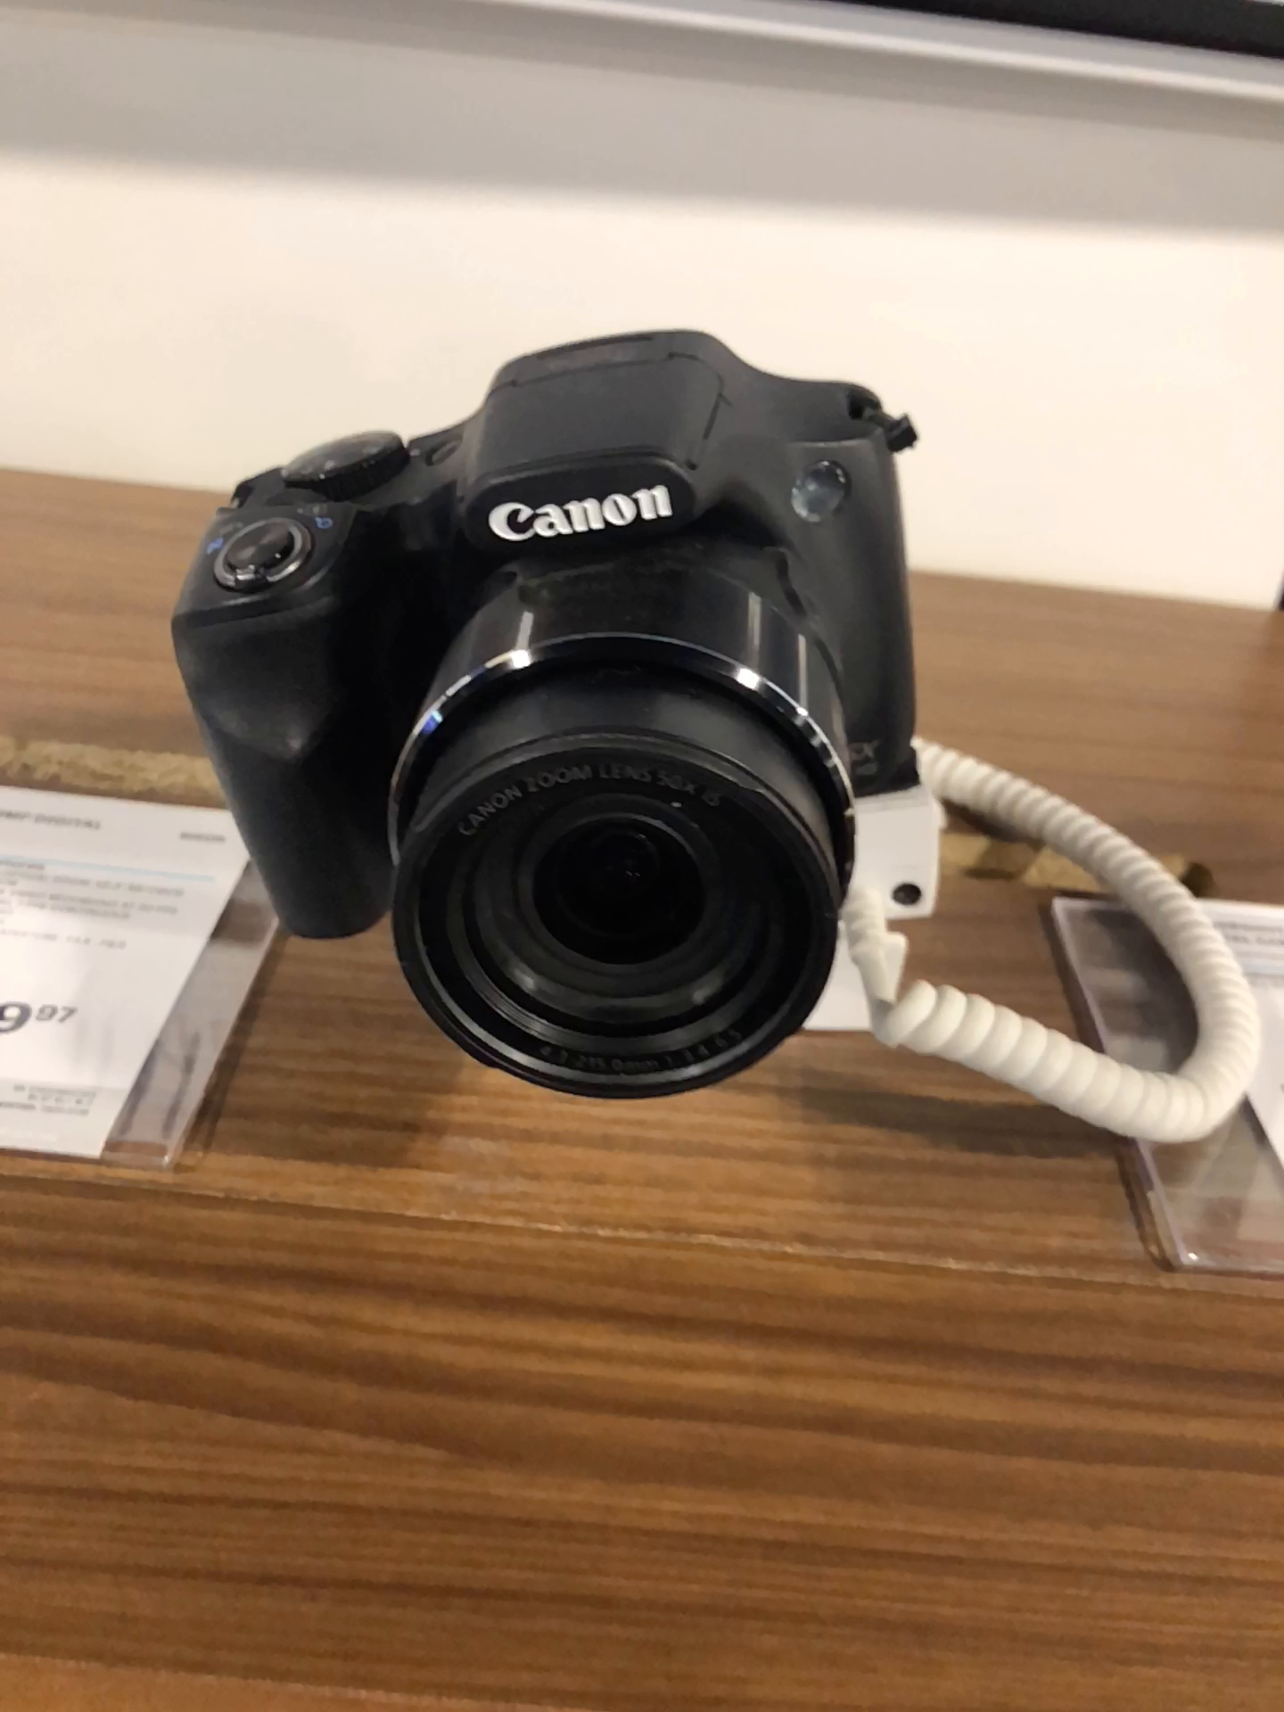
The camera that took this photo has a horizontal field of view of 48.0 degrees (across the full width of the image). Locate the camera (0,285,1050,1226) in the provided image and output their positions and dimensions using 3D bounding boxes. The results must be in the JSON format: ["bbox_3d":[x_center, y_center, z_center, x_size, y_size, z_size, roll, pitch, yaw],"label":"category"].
[{"bbox_3d":[-0.019,-0.027,0.227,0.130,0.070,0.141,-8,33,4],"label":"camera"}]
